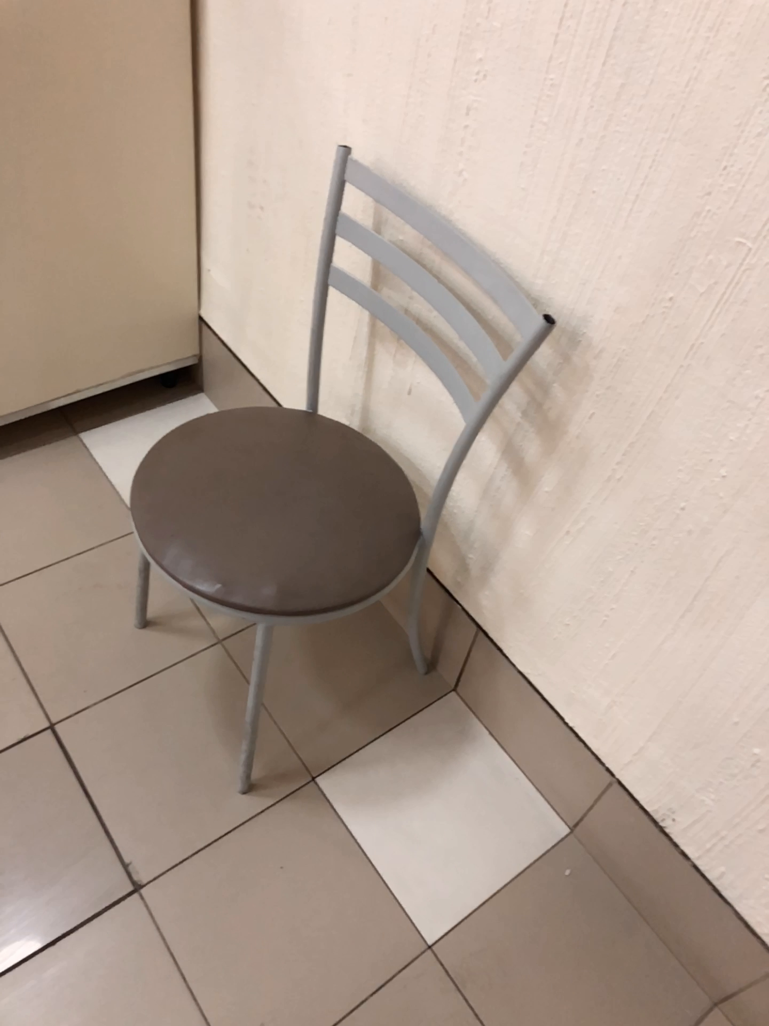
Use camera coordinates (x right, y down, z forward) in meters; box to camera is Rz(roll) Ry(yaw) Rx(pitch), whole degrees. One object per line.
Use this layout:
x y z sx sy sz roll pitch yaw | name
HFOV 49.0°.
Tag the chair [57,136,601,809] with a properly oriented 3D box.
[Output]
-0.116 -0.027 1.195 0.422 0.765 0.431 -26 58 -30 | chair
